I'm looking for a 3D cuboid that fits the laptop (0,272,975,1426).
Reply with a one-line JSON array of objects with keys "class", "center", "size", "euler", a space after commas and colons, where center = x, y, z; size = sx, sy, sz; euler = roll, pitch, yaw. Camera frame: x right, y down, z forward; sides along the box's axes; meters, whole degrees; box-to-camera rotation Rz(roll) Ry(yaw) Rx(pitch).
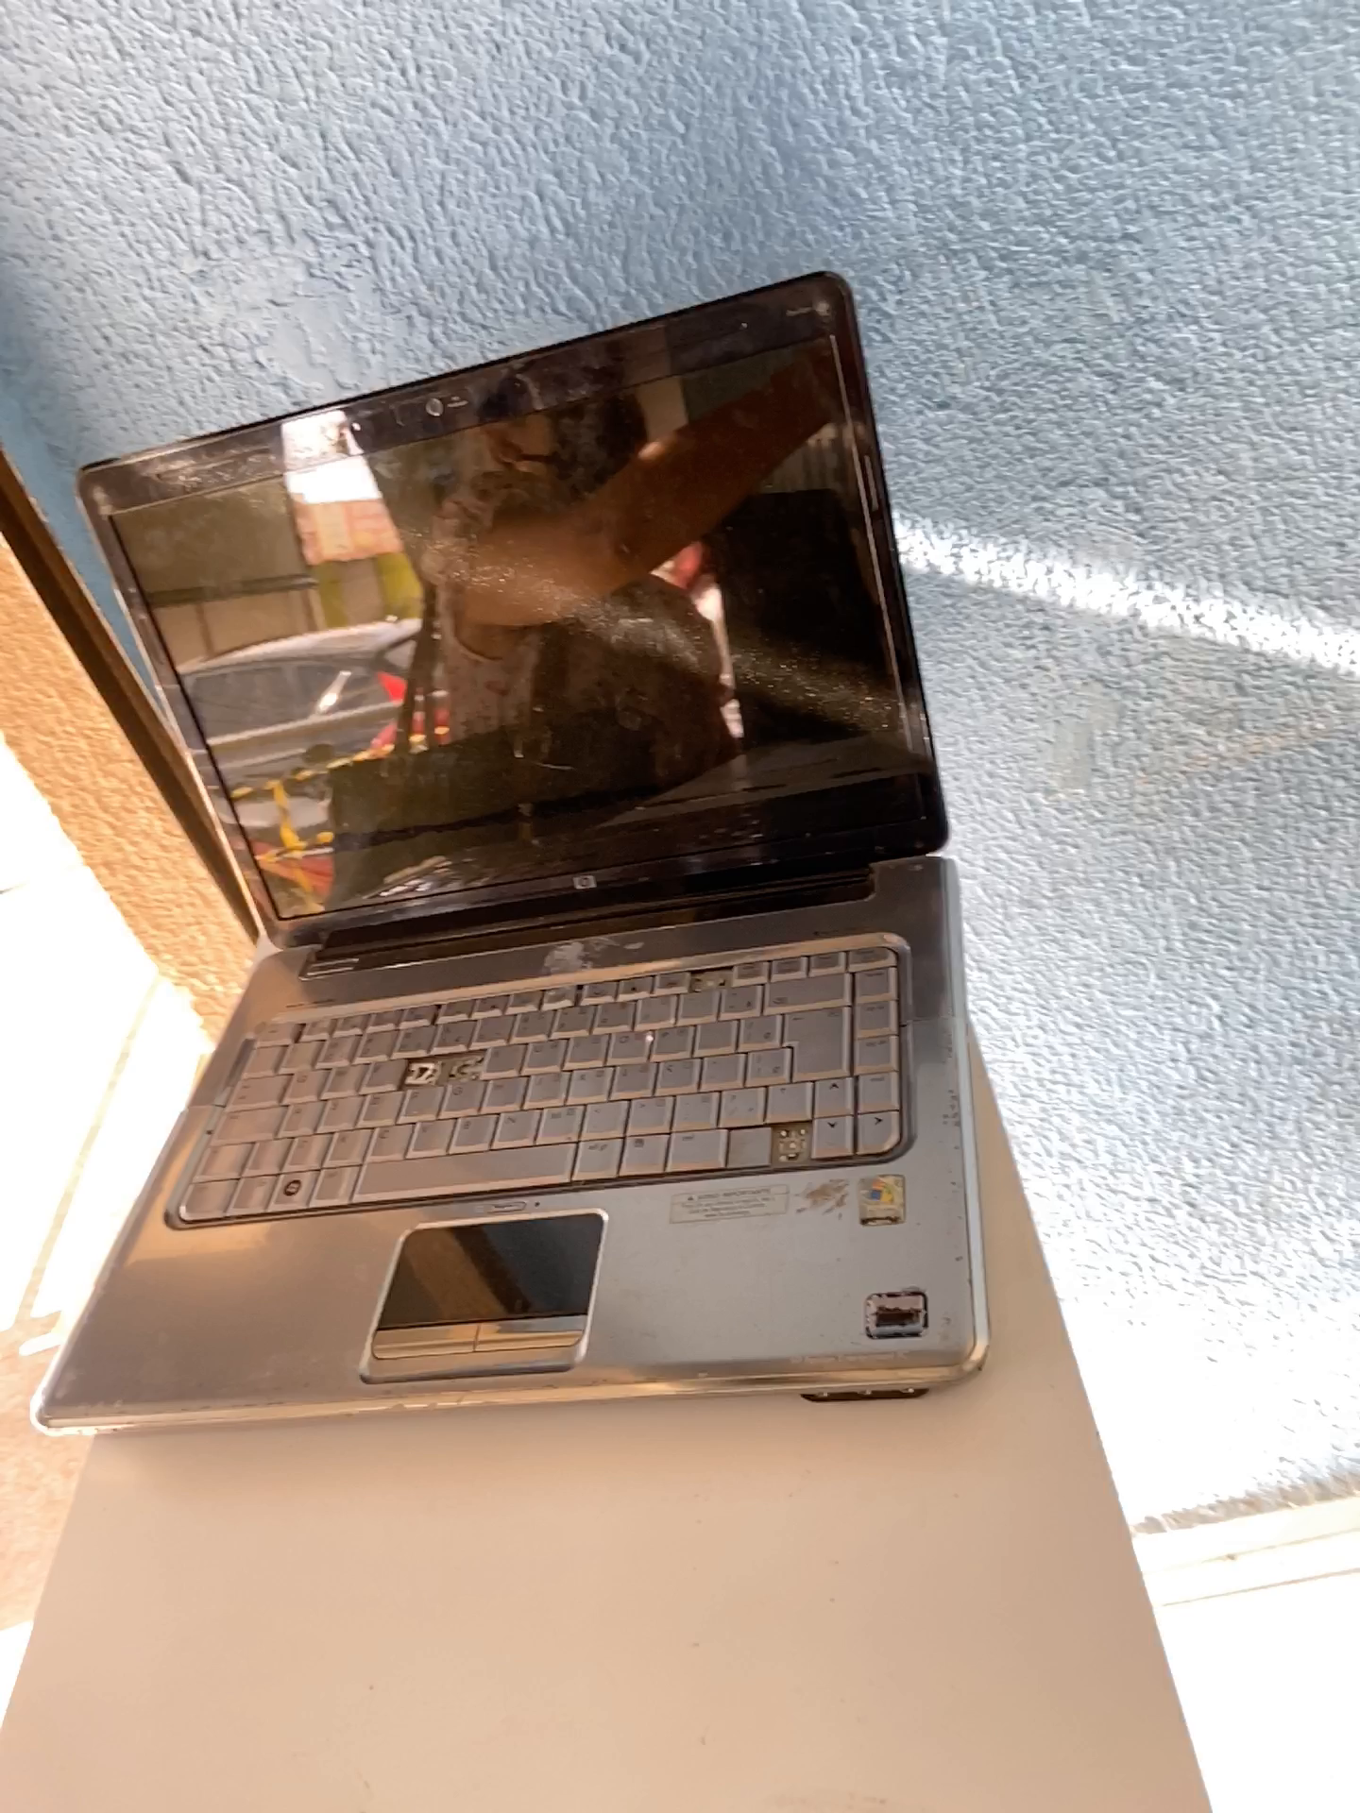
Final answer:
[{"class": "laptop", "center": [-0.091, -0.027, 0.532], "size": [0.351, 0.233, 0.330], "euler": [-8, 38, 15]}]
